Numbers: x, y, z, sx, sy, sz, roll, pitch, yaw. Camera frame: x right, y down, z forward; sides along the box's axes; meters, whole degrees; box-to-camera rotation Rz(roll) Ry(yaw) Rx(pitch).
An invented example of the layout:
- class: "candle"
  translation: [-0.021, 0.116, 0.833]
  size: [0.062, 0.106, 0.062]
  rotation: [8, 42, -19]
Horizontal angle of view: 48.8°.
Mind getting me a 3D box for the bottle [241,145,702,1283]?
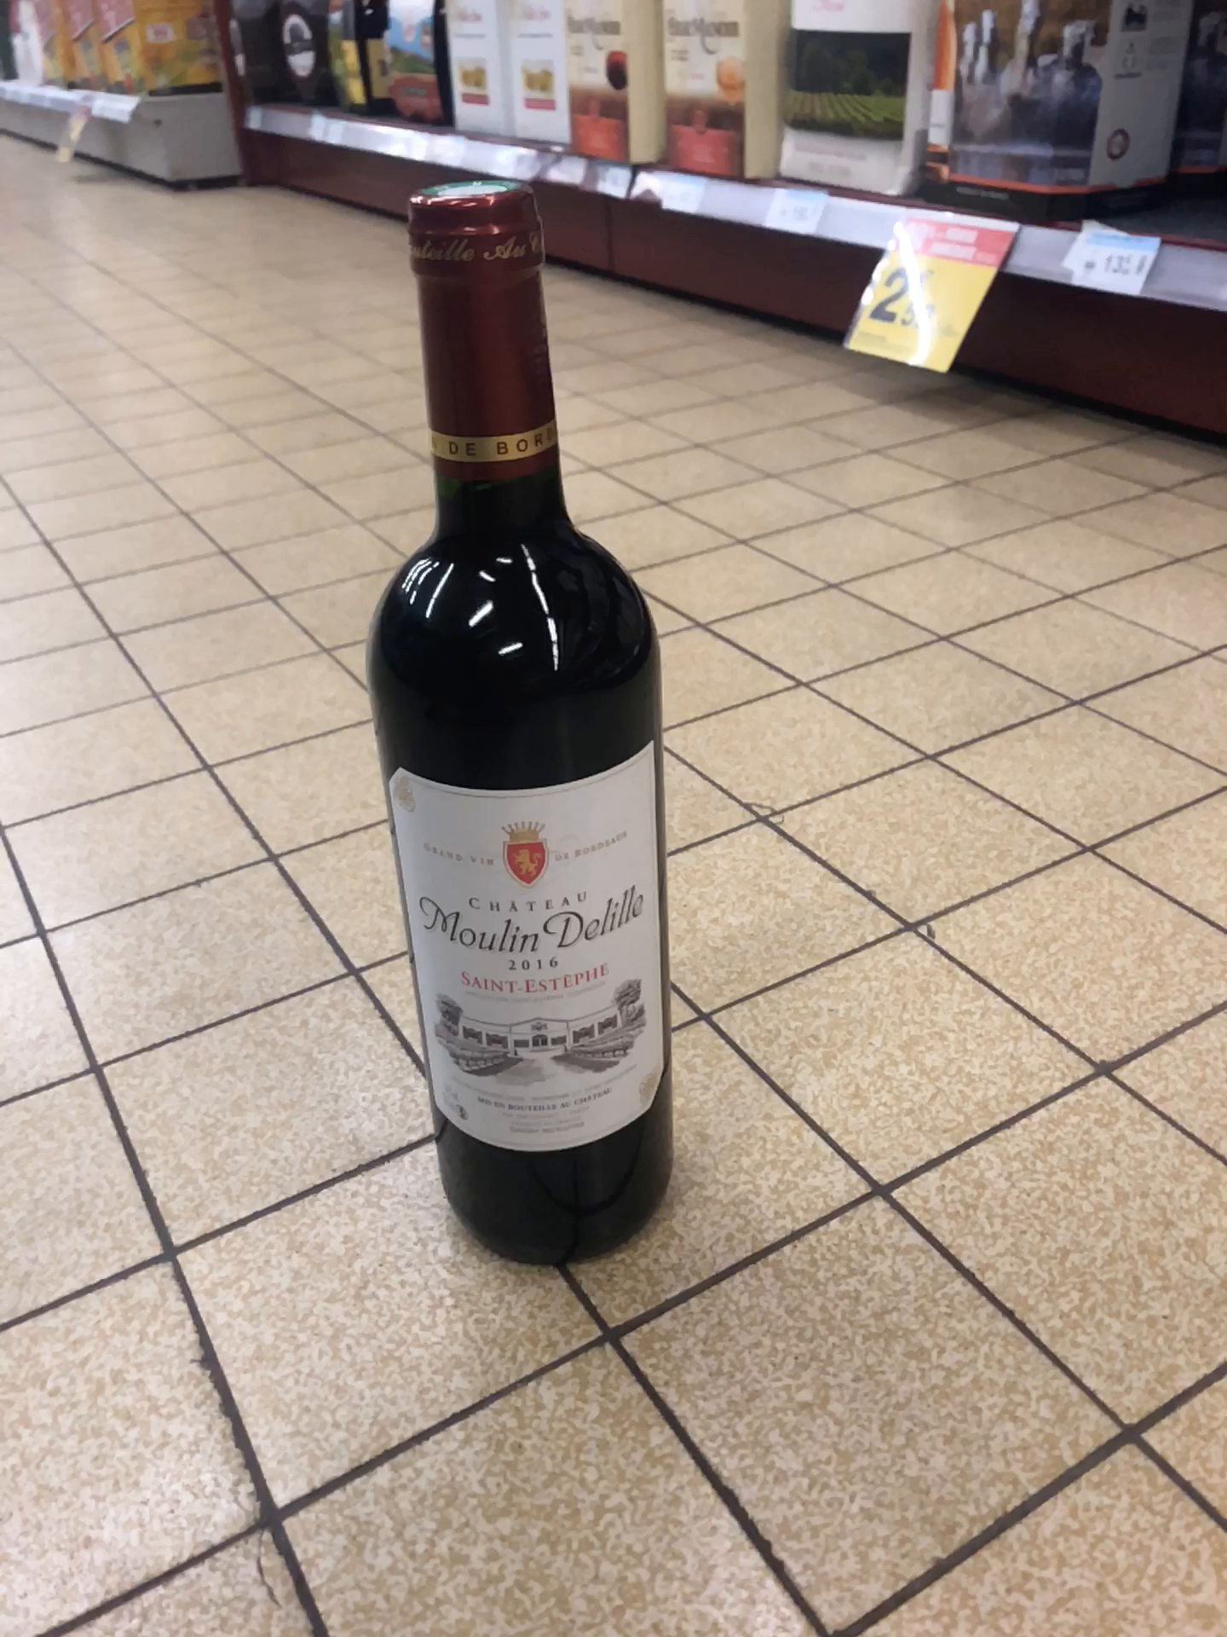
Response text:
- class: "bottle"
  translation: [-0.022, -0.011, 0.348]
  size: [0.080, 0.281, 0.080]
  rotation: [-2, 31, 1]
